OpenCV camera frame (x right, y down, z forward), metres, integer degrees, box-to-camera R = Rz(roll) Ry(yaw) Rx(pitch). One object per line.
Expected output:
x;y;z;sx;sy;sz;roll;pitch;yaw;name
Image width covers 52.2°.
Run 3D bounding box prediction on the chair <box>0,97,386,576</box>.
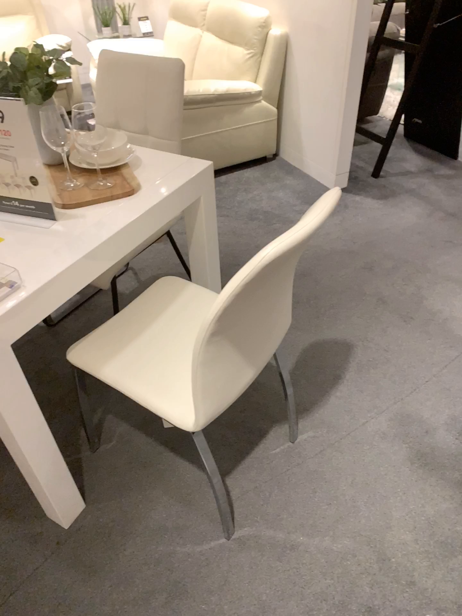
-0.095;0.077;1.203;0.646;0.955;0.482;24;46;27;chair
